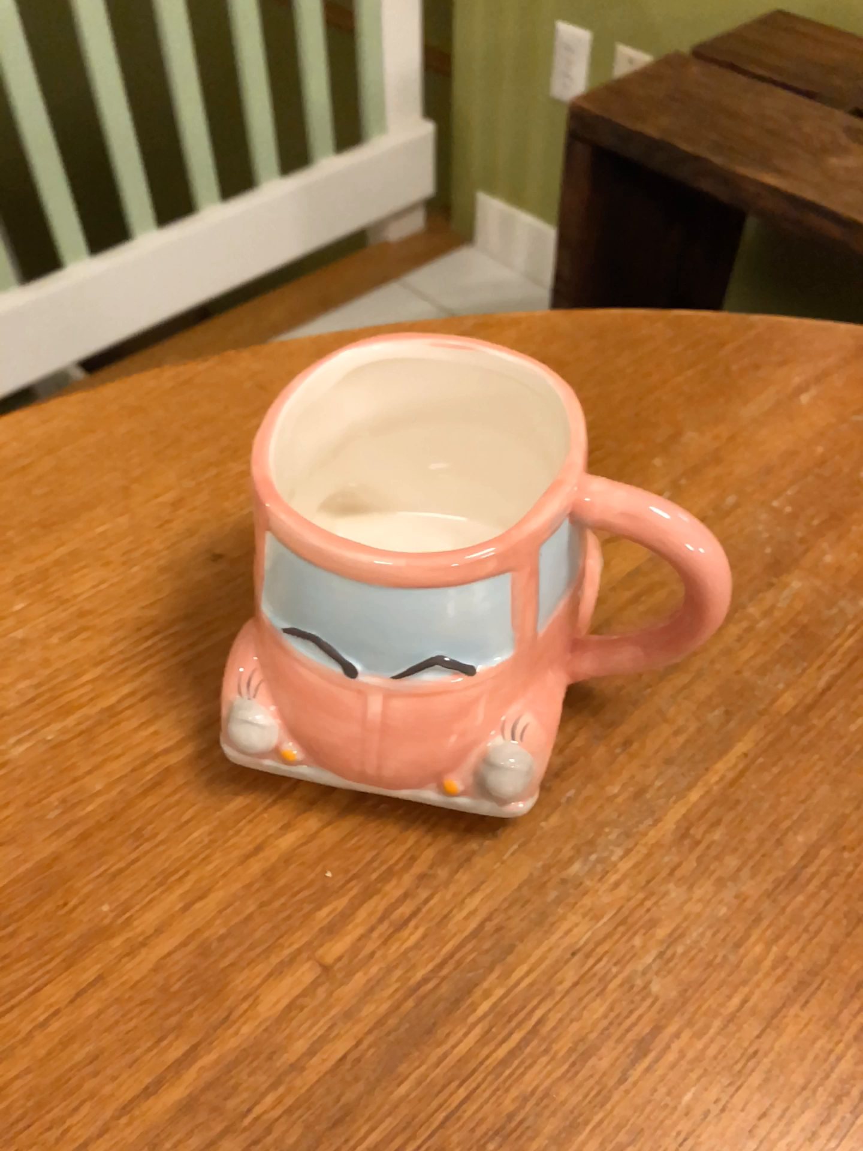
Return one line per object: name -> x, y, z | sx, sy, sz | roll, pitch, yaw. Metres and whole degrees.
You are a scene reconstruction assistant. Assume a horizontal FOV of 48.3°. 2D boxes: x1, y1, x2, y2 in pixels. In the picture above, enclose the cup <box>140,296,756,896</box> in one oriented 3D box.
cup -> 0.015, 0.001, 0.290 | 0.139, 0.097, 0.128 | 0, 49, 0
